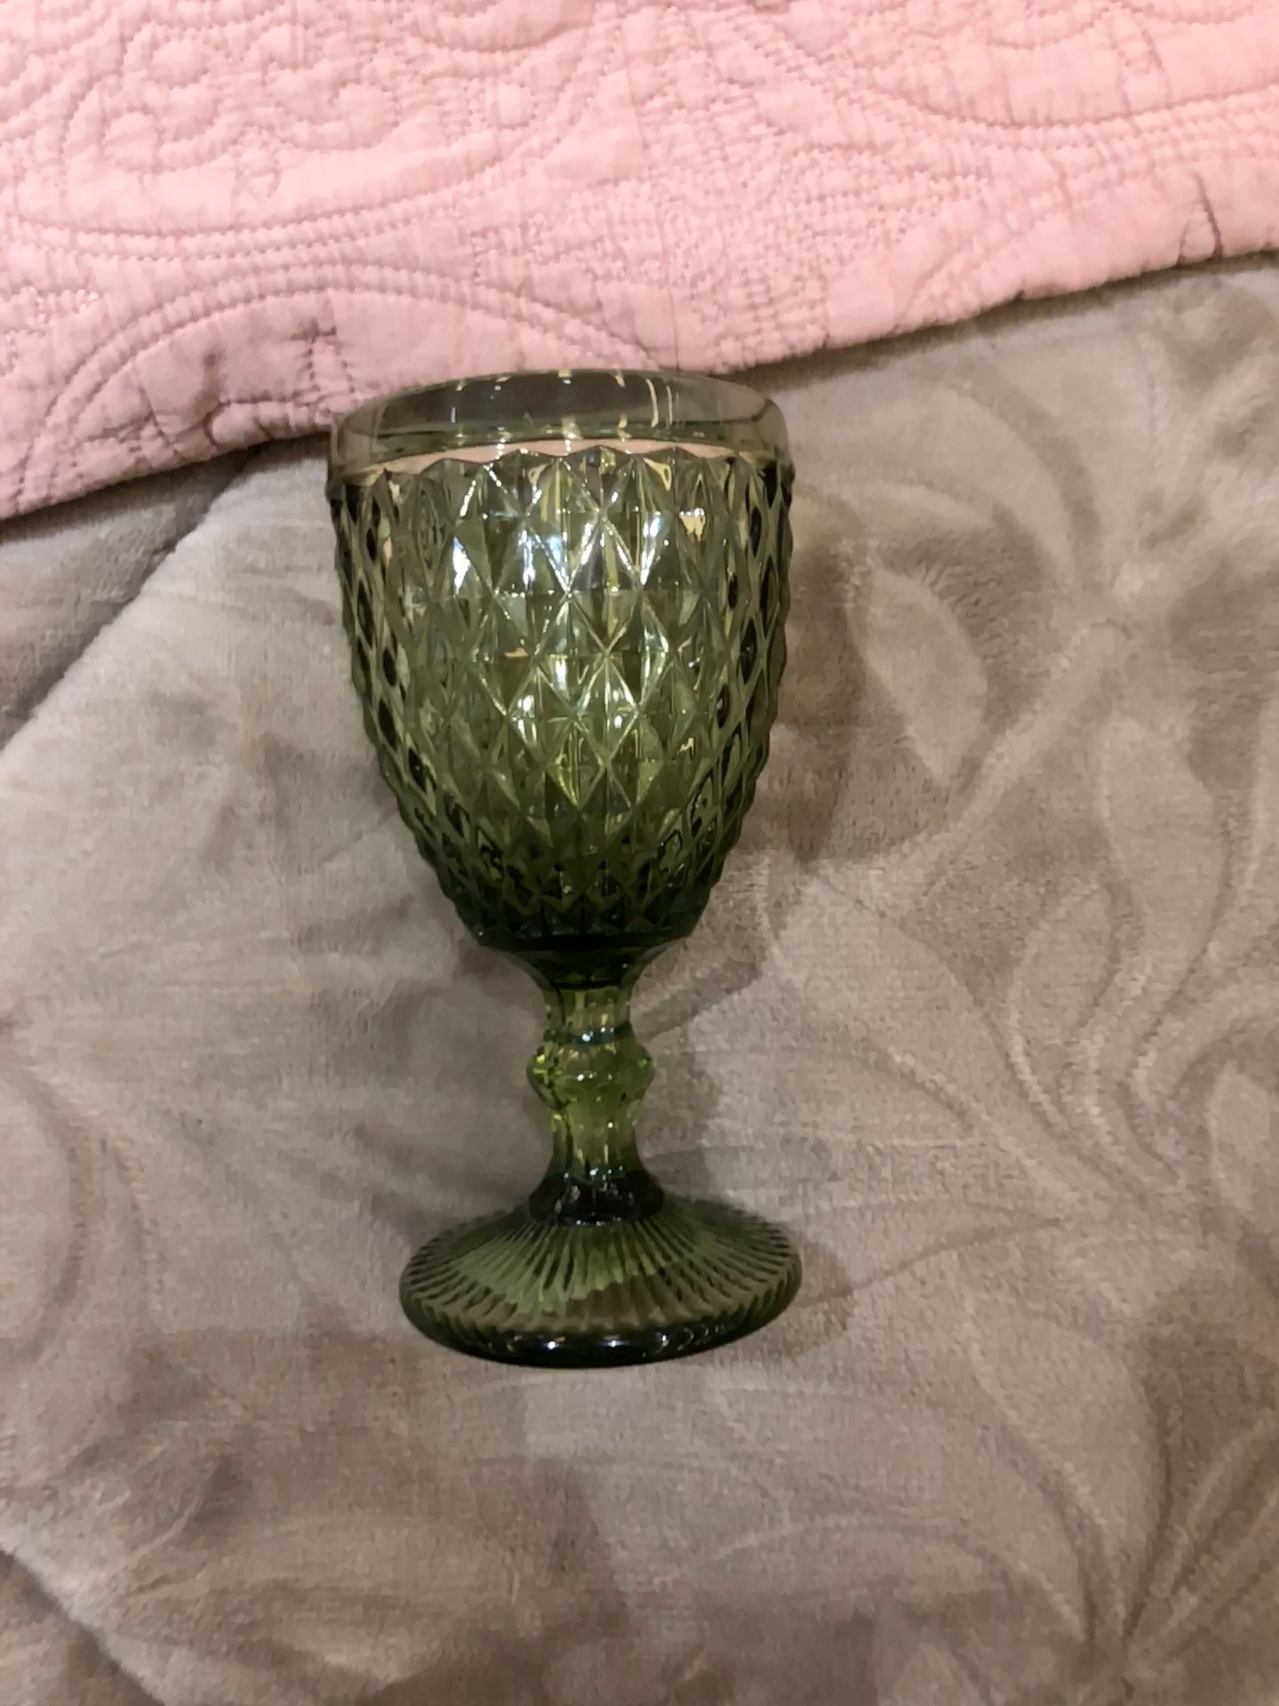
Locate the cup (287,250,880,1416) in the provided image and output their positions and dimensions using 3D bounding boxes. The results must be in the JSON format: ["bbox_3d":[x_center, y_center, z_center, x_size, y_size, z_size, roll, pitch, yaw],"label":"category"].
[{"bbox_3d":[-0.009,-0.003,0.278,0.090,0.080,0.190,-3,89,1],"label":"cup"}]
